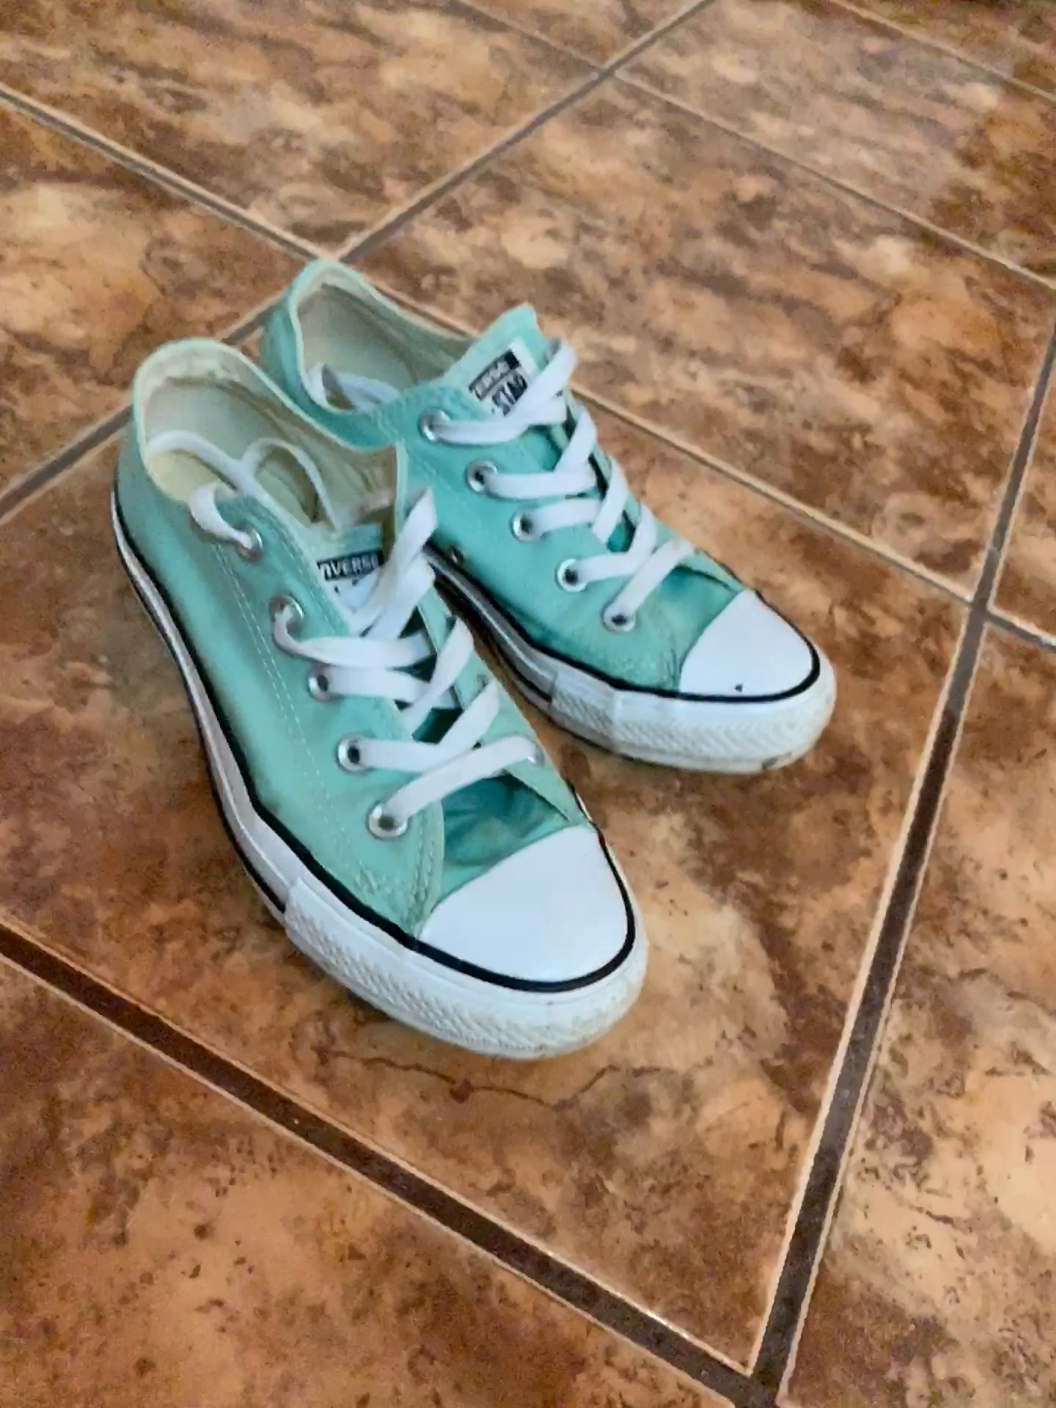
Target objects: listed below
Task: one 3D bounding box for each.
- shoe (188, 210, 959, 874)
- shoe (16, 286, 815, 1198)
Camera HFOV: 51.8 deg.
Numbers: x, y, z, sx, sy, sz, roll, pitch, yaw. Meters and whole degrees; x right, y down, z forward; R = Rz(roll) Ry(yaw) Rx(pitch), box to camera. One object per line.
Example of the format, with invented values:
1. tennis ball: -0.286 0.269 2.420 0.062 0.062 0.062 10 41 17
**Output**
1. shoe: 0.006 -0.064 0.381 0.243 0.084 0.095 34 50 12
2. shoe: -0.050 -0.006 0.319 0.098 0.094 0.244 -22 61 -31
